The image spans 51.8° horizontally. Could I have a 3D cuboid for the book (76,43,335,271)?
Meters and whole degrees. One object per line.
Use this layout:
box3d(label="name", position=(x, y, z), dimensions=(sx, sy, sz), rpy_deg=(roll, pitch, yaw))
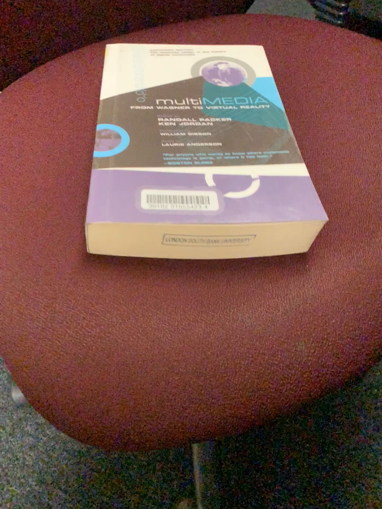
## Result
box3d(label="book", position=(0.000, -0.102, 0.334), dimensions=(0.160, 0.040, 0.250), rpy_deg=(-2, 52, -5))
